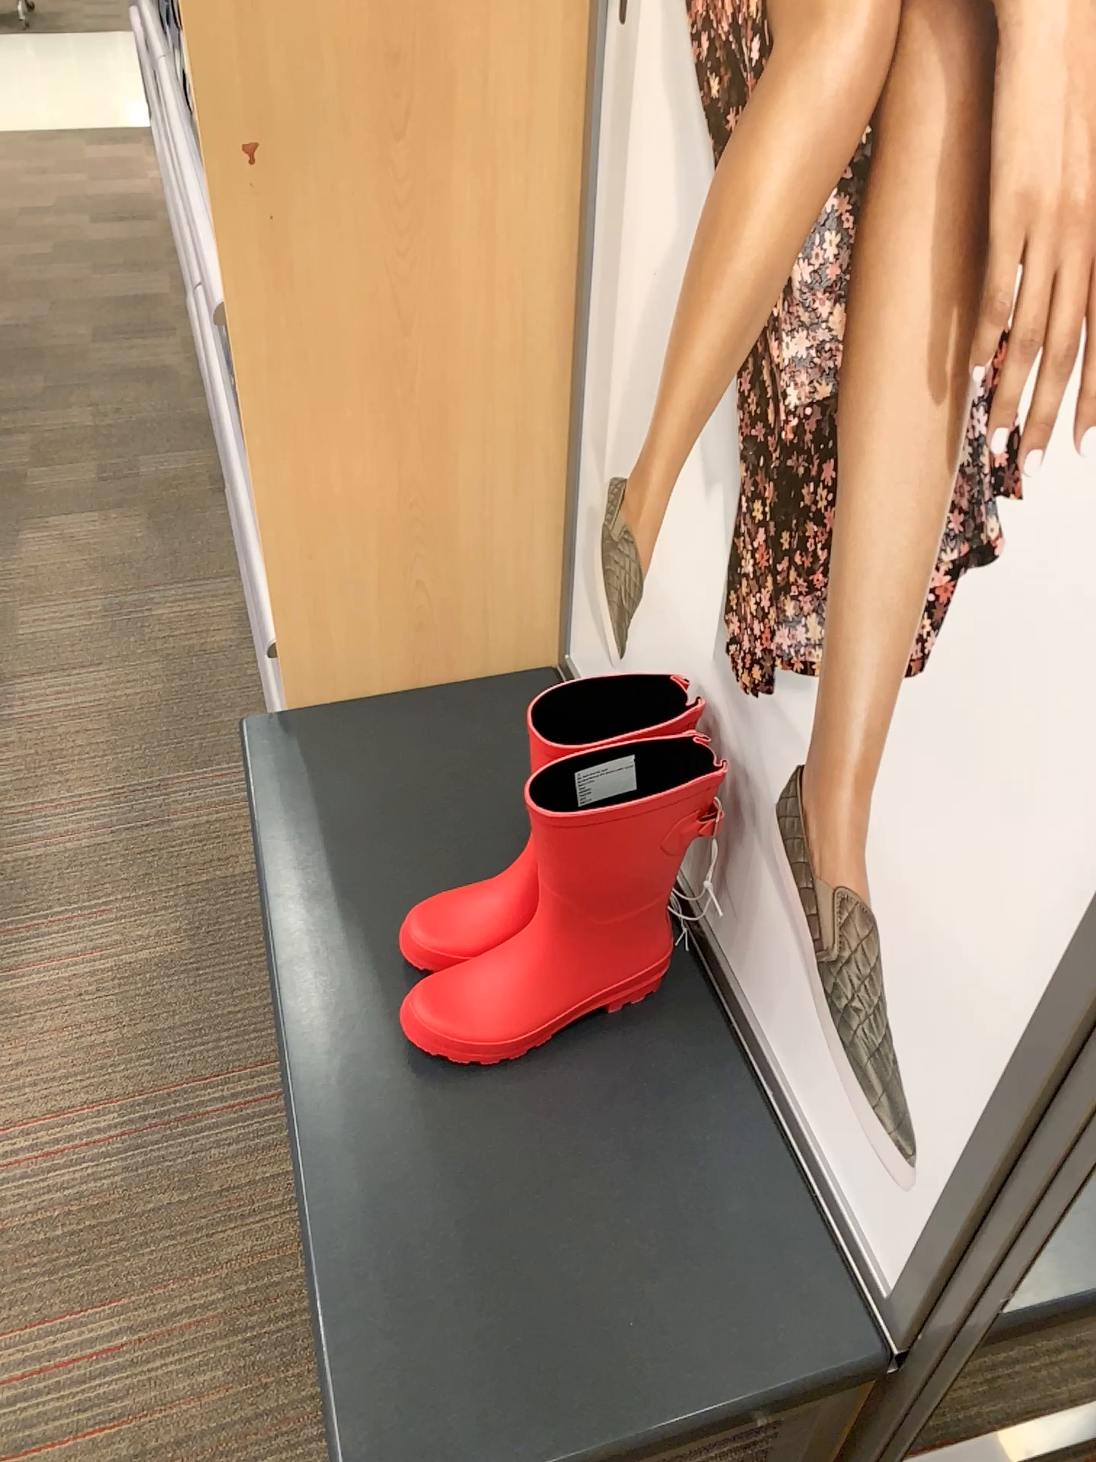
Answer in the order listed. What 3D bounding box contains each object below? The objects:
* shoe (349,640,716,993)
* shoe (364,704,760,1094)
[{"bbox_3d":[-0.017,0.074,0.961,0.270,0.249,0.107,-10,42,-15],"label":"shoe"},{"bbox_3d":[0.007,0.135,0.898,0.270,0.249,0.107,-13,42,-18],"label":"shoe"}]
